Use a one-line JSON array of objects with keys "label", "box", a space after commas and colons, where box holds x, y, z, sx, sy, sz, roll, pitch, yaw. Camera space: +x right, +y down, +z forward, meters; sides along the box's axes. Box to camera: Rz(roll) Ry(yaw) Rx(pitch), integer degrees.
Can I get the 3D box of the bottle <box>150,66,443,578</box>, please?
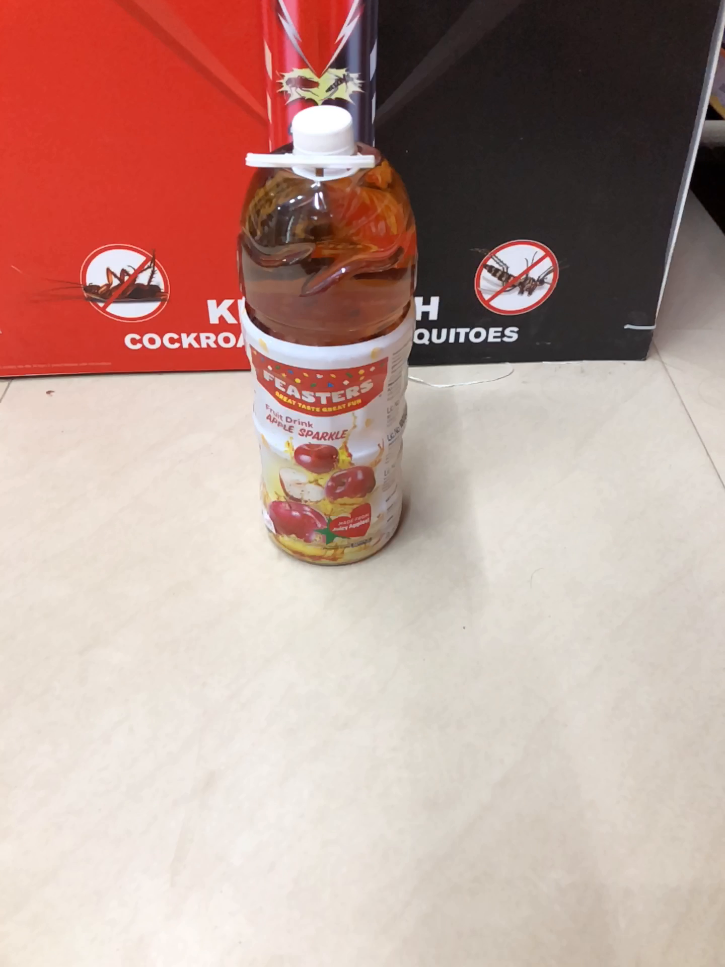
[{"label": "bottle", "box": [-0.029, -0.080, 0.478, 0.120, 0.278, 0.101, 8, 44, 7]}]
